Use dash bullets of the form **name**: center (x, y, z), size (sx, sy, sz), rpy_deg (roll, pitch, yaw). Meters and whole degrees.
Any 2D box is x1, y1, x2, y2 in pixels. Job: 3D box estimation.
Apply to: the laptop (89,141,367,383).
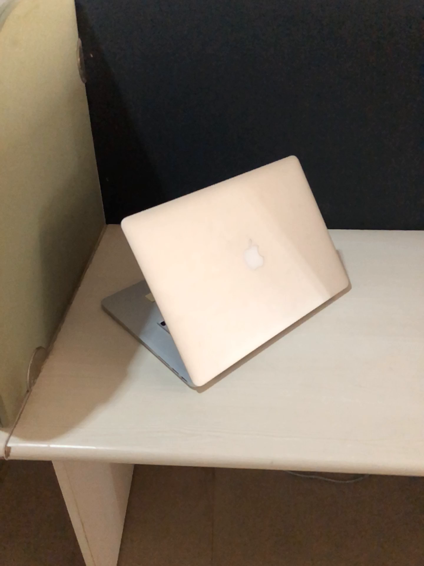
- **laptop**: center (0.031, -0.062, 0.738), size (0.344, 0.197, 0.235), rpy_deg (-27, 44, -34)
